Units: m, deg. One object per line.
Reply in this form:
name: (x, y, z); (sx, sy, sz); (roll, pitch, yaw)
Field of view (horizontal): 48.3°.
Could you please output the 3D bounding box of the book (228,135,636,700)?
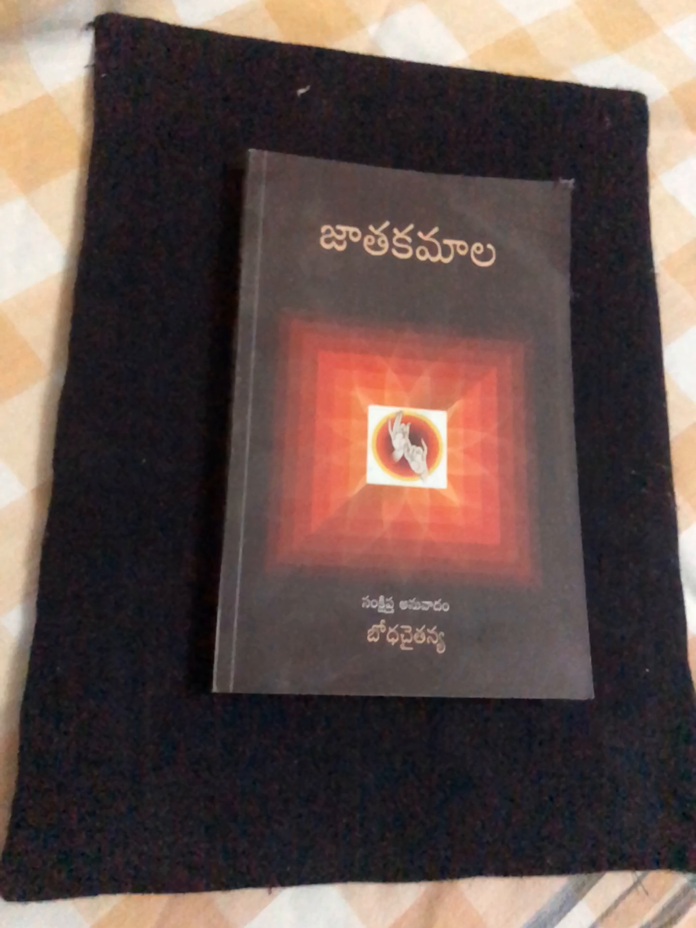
book: (0.032, -0.022, 0.296); (0.140, 0.020, 0.210); (3, 77, -3)
